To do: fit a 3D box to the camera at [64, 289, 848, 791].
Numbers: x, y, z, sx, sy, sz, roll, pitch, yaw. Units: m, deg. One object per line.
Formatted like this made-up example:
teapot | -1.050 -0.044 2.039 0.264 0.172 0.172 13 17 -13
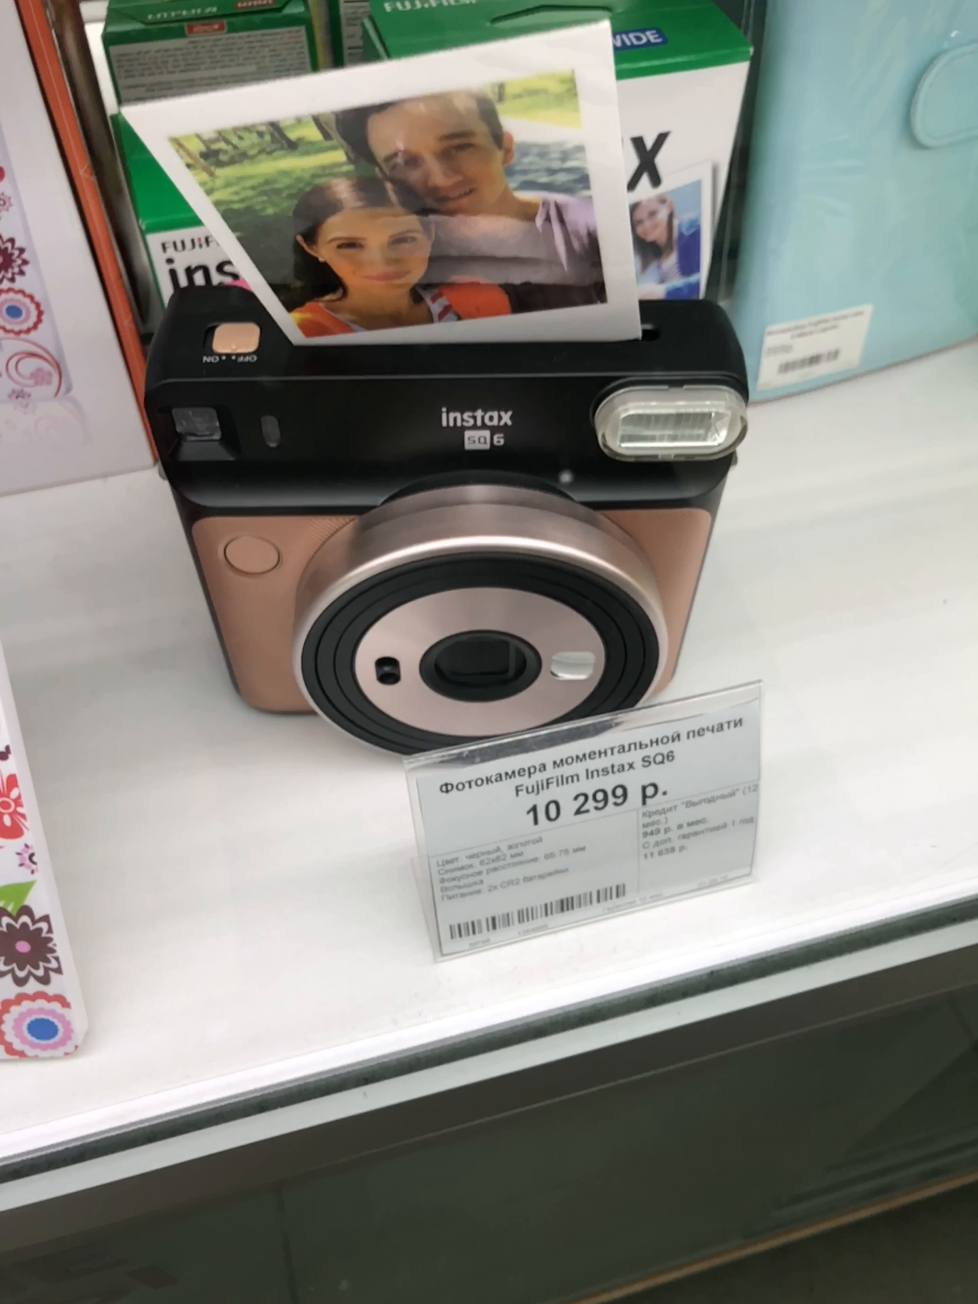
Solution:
camera | -0.007 -0.021 0.255 0.140 0.104 0.060 -1 54 -2
